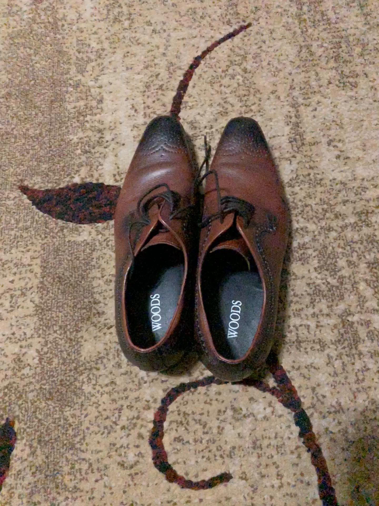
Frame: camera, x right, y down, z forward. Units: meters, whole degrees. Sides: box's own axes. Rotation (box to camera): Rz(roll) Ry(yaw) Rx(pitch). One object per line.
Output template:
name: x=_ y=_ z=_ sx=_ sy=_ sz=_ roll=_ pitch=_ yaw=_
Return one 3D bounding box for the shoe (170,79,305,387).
shoe: x=0.052 y=-0.018 z=0.385 sx=0.095 sy=0.116 sz=0.274 roll=4 pitch=72 yaw=7

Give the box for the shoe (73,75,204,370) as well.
shoe: x=-0.036 y=-0.026 z=0.397 sx=0.095 sy=0.116 sz=0.274 roll=-1 pitch=71 yaw=5
